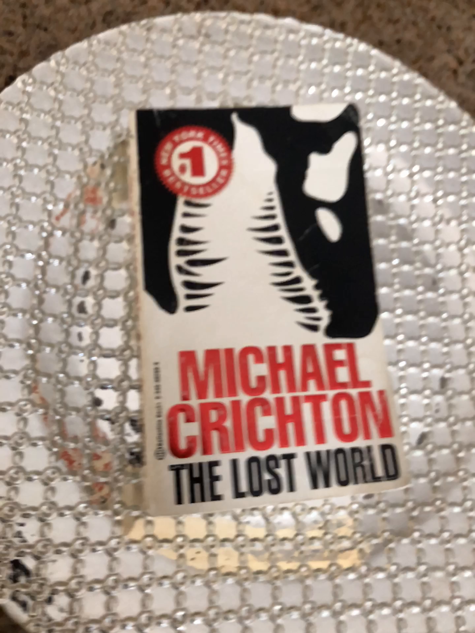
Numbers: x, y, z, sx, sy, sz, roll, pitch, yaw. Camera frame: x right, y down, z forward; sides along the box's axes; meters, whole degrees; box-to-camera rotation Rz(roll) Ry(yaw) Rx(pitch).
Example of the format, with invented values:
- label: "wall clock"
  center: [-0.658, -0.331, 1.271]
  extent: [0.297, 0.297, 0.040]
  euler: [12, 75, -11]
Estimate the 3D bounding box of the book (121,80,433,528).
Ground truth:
- label: "book"
  center: [0.010, -0.010, 0.244]
  extent: [0.119, 0.040, 0.182]
  euler: [-1, 76, -13]
